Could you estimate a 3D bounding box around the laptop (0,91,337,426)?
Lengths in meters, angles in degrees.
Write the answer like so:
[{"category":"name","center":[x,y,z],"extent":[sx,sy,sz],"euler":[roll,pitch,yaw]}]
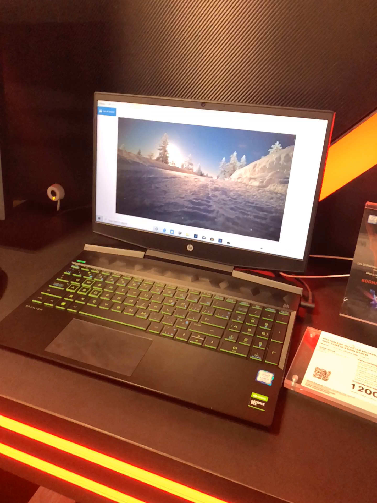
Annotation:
[{"category":"laptop","center":[-0.027,-0.044,0.531],"extent":[0.355,0.240,0.315],"euler":[11,30,18]}]
